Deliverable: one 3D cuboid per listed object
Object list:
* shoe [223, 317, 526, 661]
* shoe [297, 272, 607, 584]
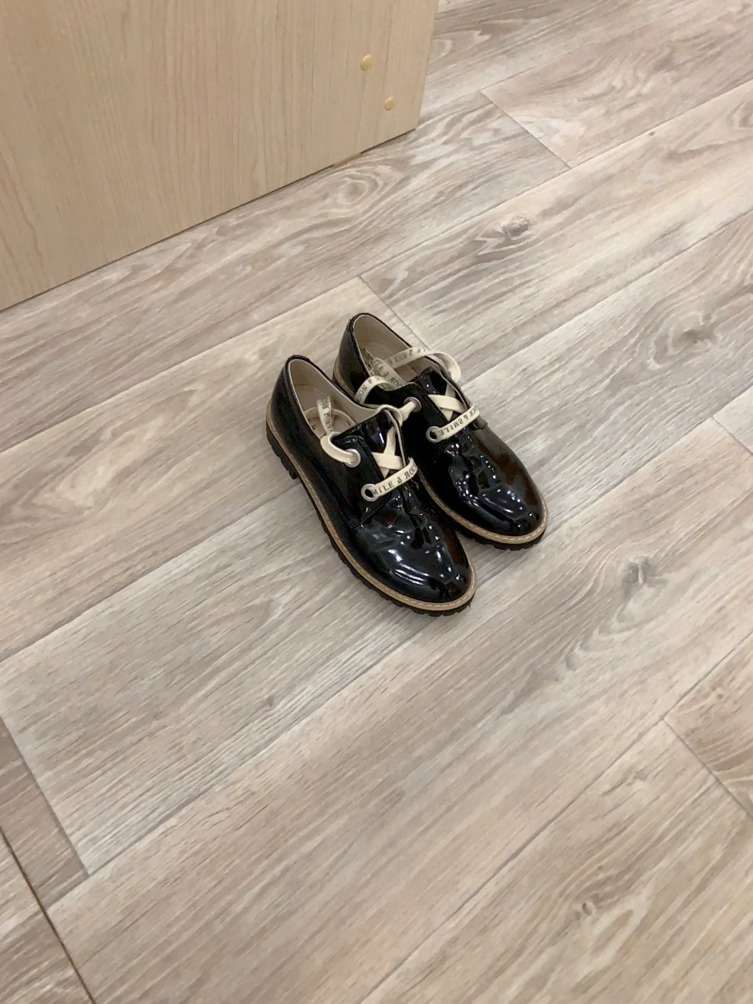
[{"bbox_3d":[-0.012,-0.016,0.656,0.100,0.100,0.270,-31,69,-22],"label":"shoe"},{"bbox_3d":[0.056,-0.070,0.699,0.100,0.100,0.270,-38,72,-24],"label":"shoe"}]
